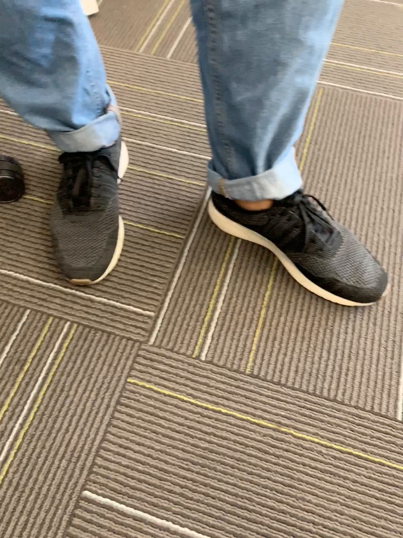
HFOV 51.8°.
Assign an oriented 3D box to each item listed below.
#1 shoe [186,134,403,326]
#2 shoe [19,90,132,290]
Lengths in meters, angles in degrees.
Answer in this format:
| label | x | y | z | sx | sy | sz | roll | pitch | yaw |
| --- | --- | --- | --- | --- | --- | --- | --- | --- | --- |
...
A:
| label | x | y | z | sx | sy | sz | roll | pitch | yaw |
| --- | --- | --- | --- | --- | --- | --- | --- | --- | --- |
| shoe | 0.134 | -0.063 | 0.618 | 0.306 | 0.106 | 0.112 | 33 | 67 | 16 |
| shoe | -0.181 | -0.130 | 0.649 | 0.110 | 0.106 | 0.307 | -1 | 62 | -1 |
